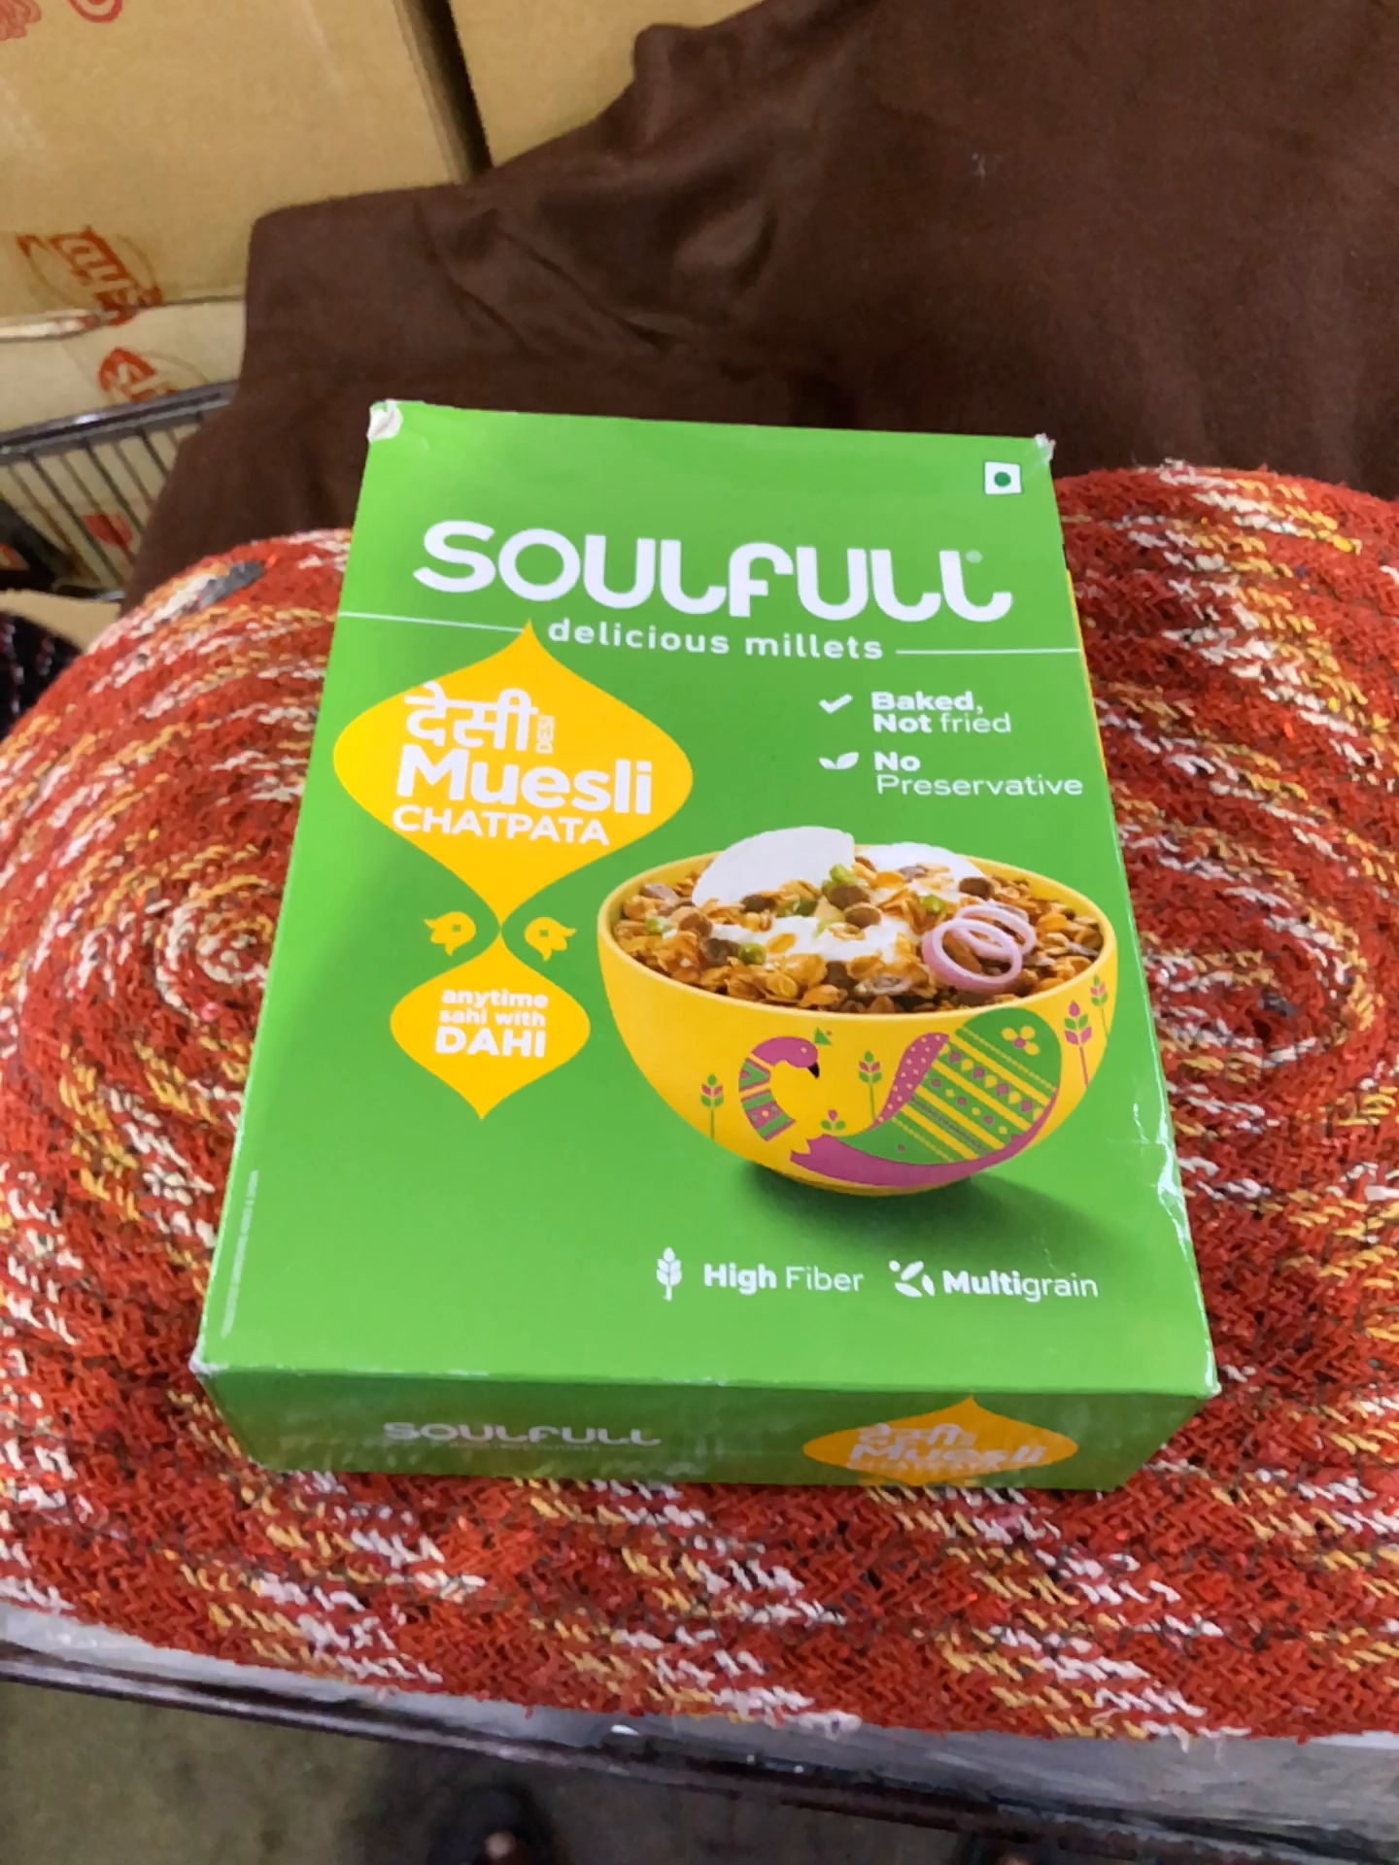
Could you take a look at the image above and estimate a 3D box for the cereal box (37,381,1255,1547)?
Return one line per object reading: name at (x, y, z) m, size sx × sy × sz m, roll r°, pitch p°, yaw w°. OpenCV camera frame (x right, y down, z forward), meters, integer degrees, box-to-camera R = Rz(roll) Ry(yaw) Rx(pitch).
cereal box at (-0.006, -0.012, 0.314) m, size 0.170 × 0.060 × 0.241 m, roll 2°, pitch 53°, yaw 0°
